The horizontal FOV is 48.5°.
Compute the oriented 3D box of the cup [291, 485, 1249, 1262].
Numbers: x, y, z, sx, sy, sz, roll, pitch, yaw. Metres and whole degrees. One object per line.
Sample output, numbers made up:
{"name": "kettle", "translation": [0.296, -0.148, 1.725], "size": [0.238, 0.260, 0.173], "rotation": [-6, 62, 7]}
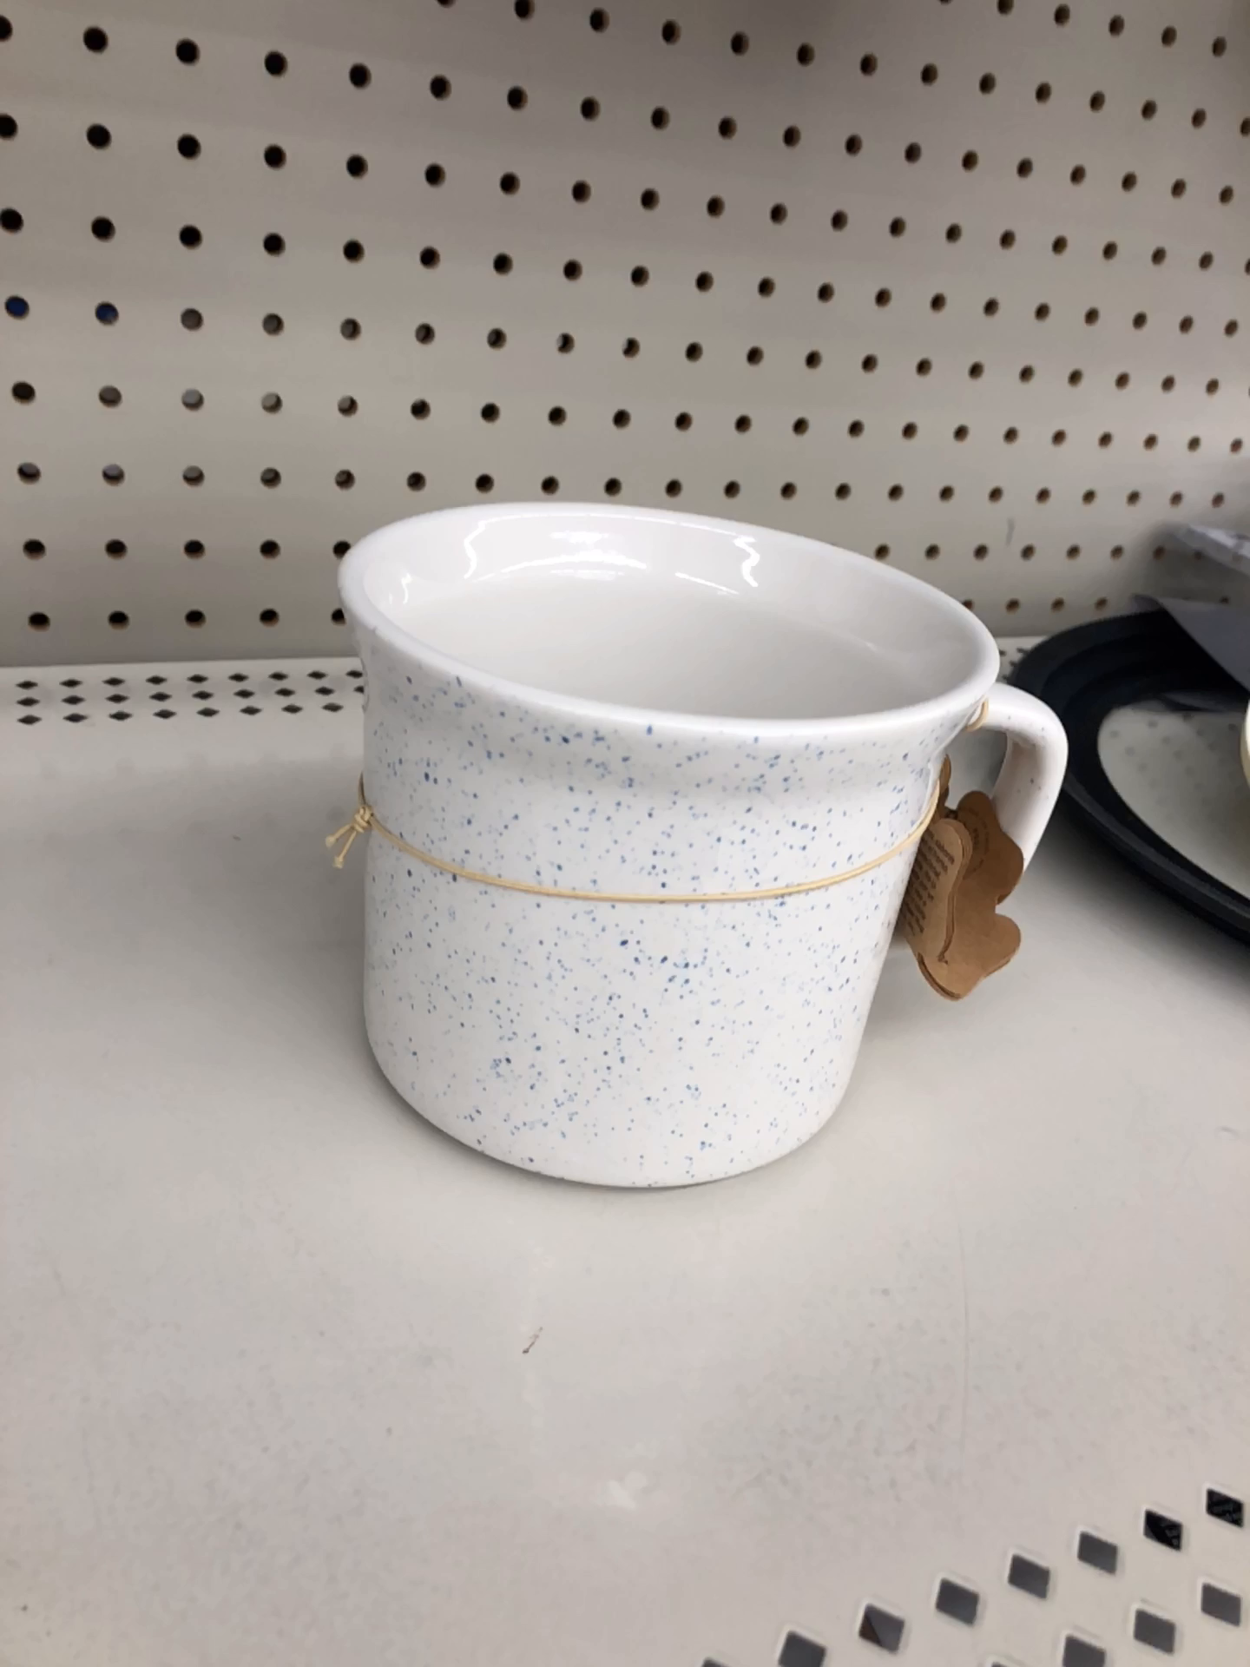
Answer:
{"name": "cup", "translation": [0.029, -0.007, 0.265], "size": [0.160, 0.090, 0.102], "rotation": [-7, 31, -26]}
